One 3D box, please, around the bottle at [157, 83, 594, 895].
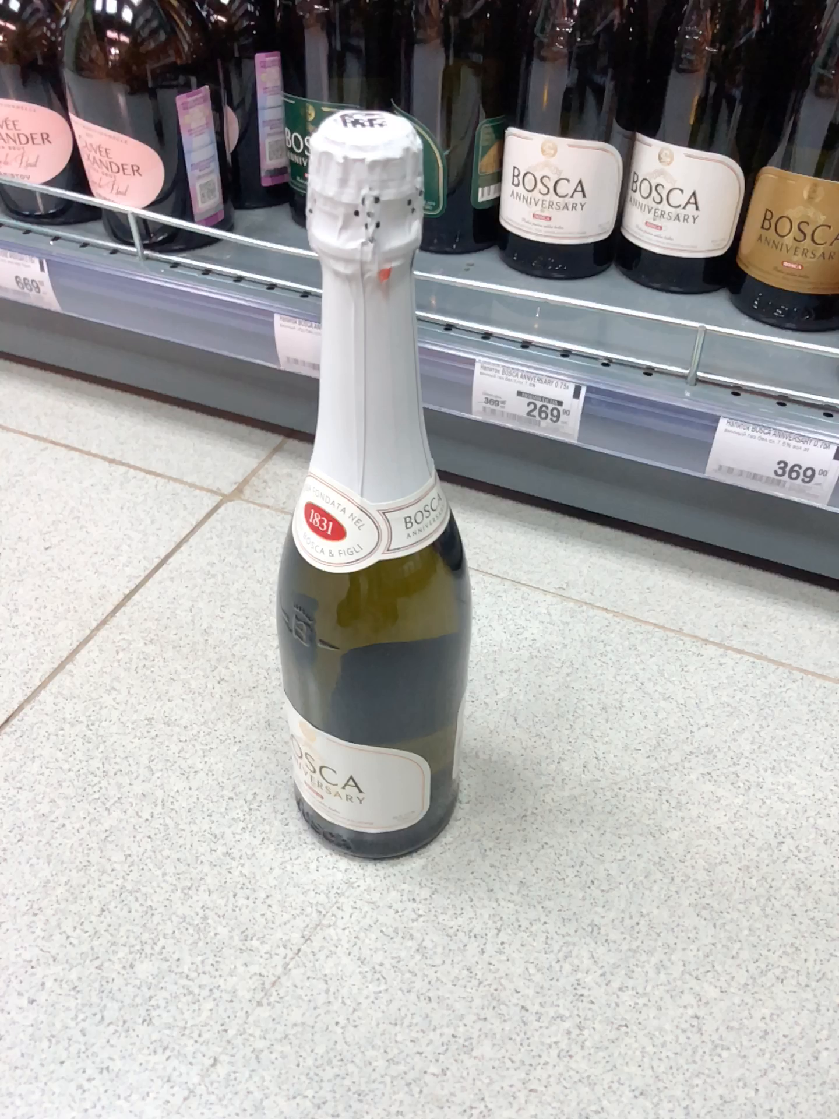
[{"bbox_3d":[-0.016,-0.005,0.370,0.090,0.308,0.090,1,41,-1],"label":"bottle"}]
